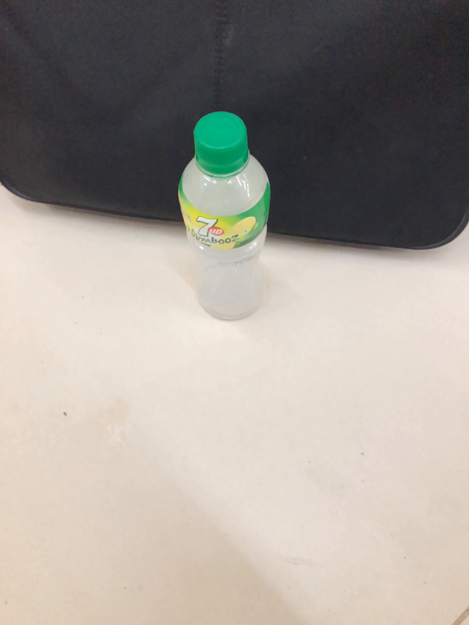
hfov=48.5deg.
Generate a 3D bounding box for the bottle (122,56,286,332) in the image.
[{"bbox_3d":[-0.013,-0.063,0.353,0.070,0.189,0.070,0,64,0],"label":"bottle"}]
